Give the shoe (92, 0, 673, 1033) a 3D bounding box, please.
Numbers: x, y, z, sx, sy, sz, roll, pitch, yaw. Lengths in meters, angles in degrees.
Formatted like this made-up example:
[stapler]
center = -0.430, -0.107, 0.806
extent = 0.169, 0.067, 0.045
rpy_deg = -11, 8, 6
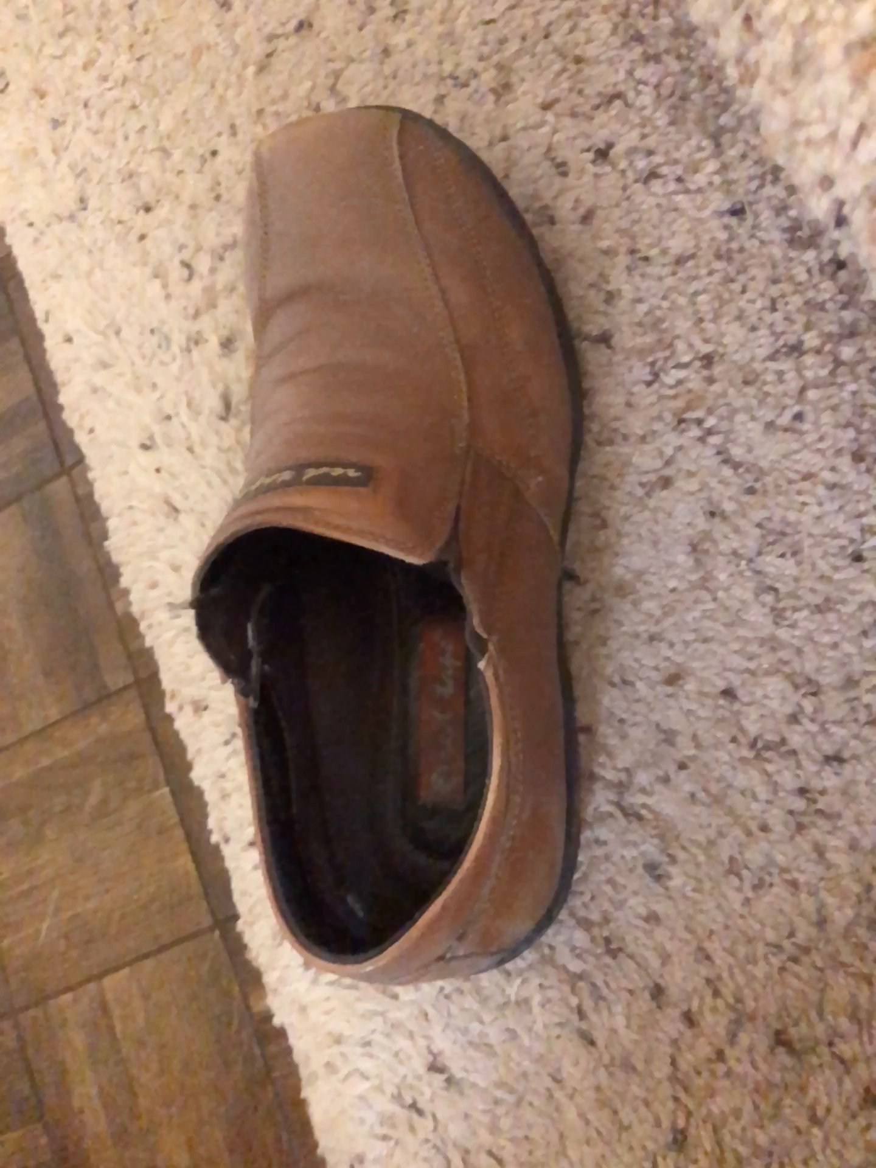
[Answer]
[shoe]
center = -0.013, -0.036, 0.297
extent = 0.110, 0.120, 0.290
rpy_deg = -10, 79, 17
